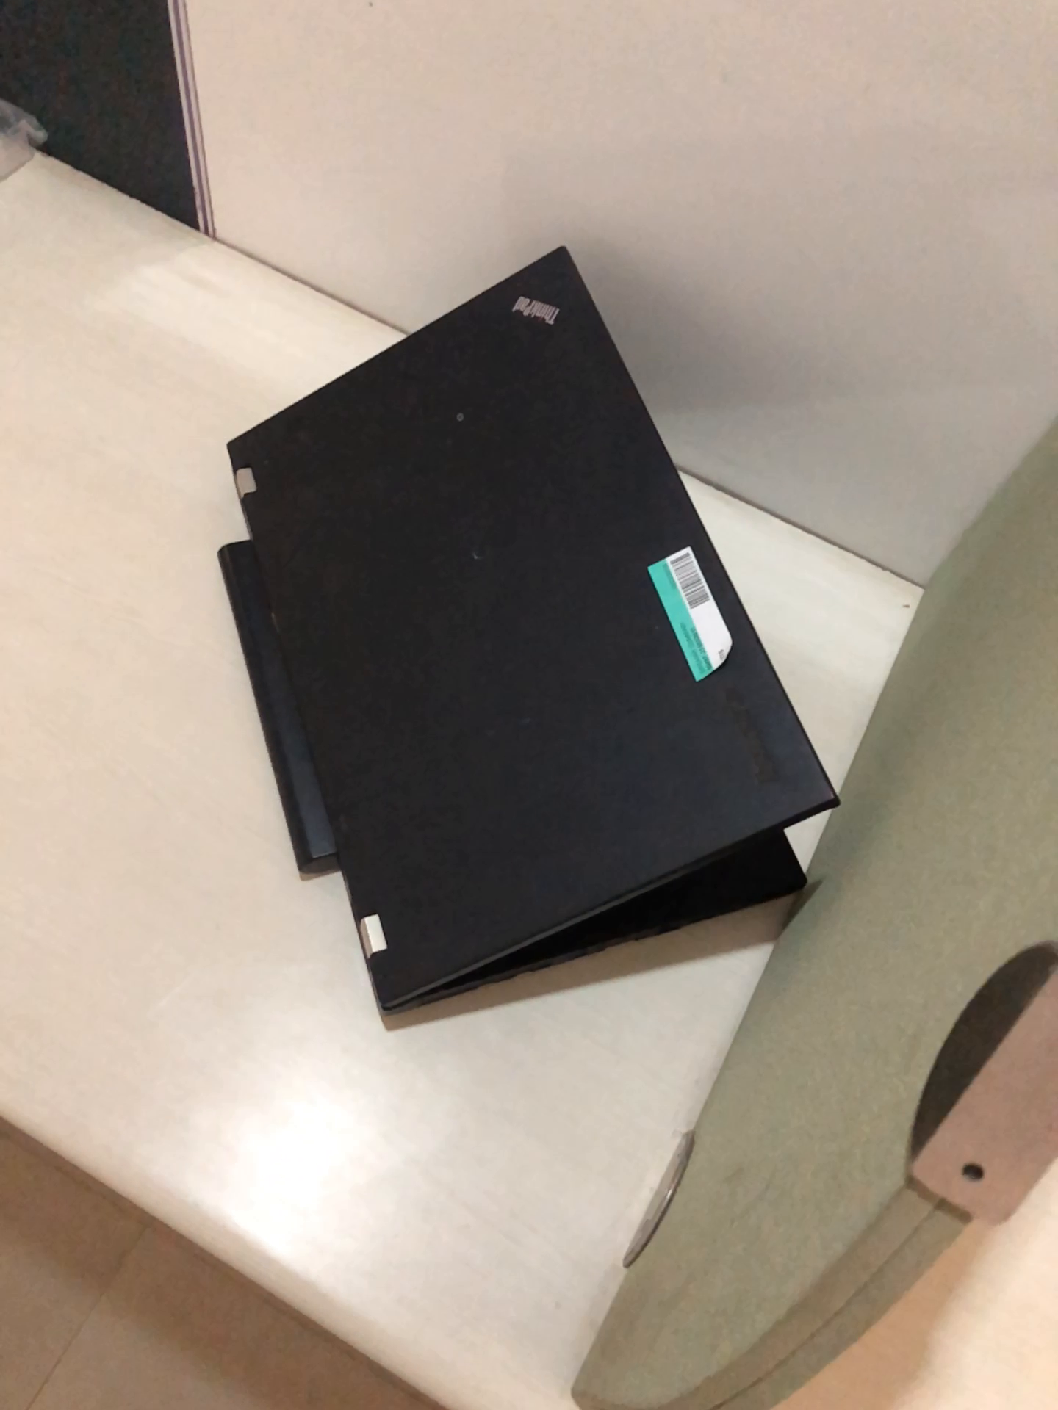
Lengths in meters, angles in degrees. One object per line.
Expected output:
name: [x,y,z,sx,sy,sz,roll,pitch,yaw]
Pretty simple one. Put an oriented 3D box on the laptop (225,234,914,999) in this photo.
laptop: [-0.005,-0.062,0.627,0.232,0.140,0.355,-14,63,-13]
